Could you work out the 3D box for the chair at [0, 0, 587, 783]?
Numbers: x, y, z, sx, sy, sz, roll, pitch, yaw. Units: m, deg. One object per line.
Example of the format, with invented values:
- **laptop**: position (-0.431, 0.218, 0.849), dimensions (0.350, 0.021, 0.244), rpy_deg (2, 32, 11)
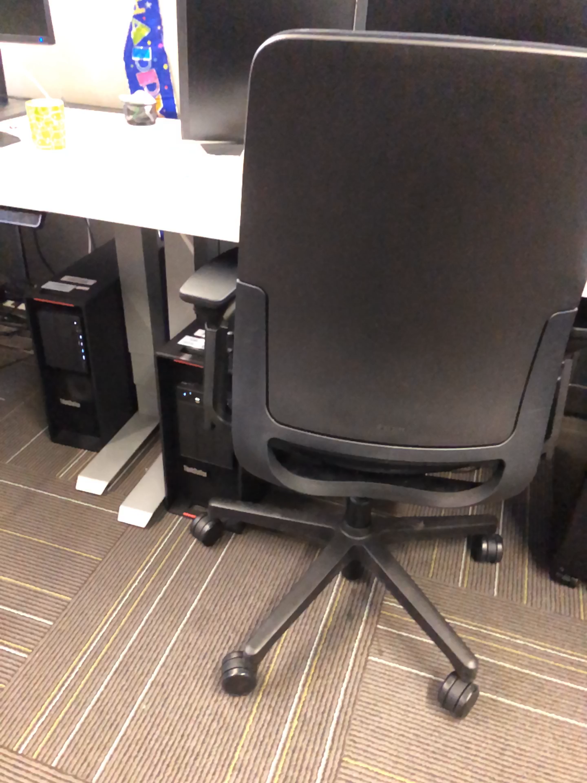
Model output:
- **chair**: position (0.085, -0.022, 1.017), dimensions (0.780, 1.014, 0.664), rpy_deg (12, 33, 14)
